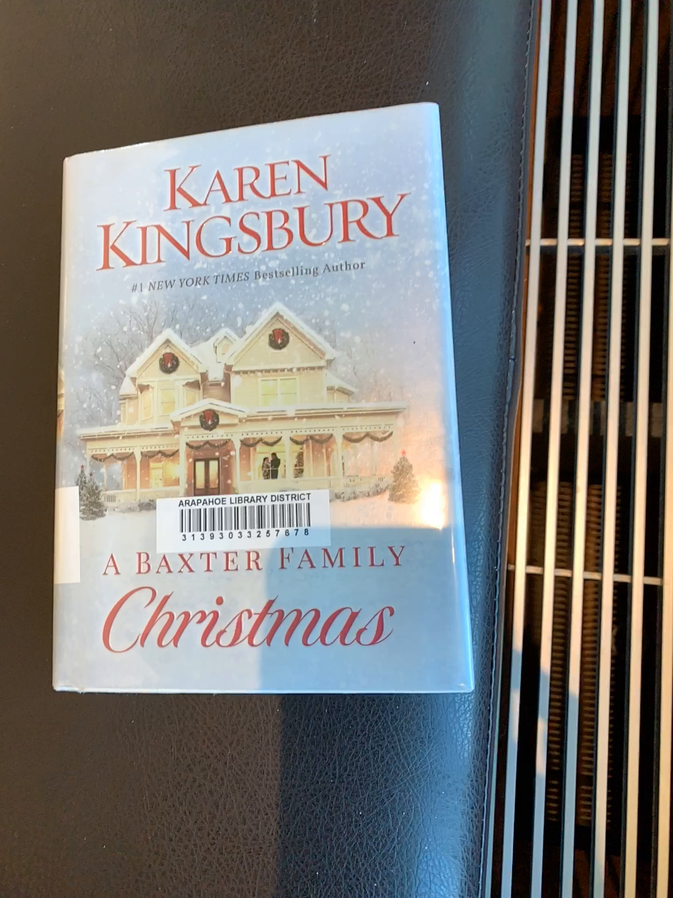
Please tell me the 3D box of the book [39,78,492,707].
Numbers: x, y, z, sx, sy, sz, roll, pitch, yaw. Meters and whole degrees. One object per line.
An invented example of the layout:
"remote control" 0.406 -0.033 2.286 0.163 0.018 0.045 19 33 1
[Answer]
"book" -0.025 -0.016 0.220 0.134 0.023 0.180 -3 83 11
